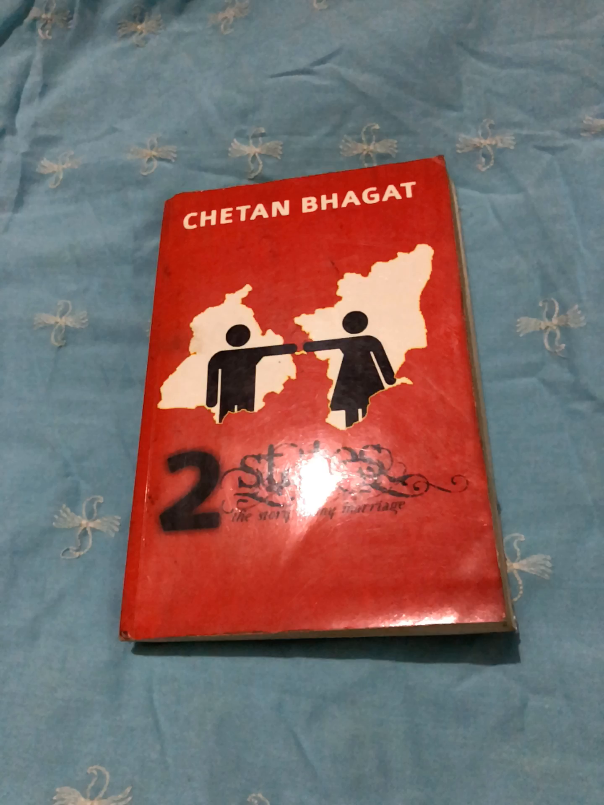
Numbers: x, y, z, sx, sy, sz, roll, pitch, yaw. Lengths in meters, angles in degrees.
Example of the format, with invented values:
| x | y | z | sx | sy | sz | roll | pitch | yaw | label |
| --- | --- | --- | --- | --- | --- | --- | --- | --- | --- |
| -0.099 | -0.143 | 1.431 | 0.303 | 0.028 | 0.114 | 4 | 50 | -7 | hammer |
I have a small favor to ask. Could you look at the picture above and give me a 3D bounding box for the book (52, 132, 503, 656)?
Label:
| x | y | z | sx | sy | sz | roll | pitch | yaw | label |
| --- | --- | --- | --- | --- | --- | --- | --- | --- | --- |
| -0.010 | -0.012 | 0.264 | 0.140 | 0.030 | 0.200 | -5 | 63 | 8 | book |
